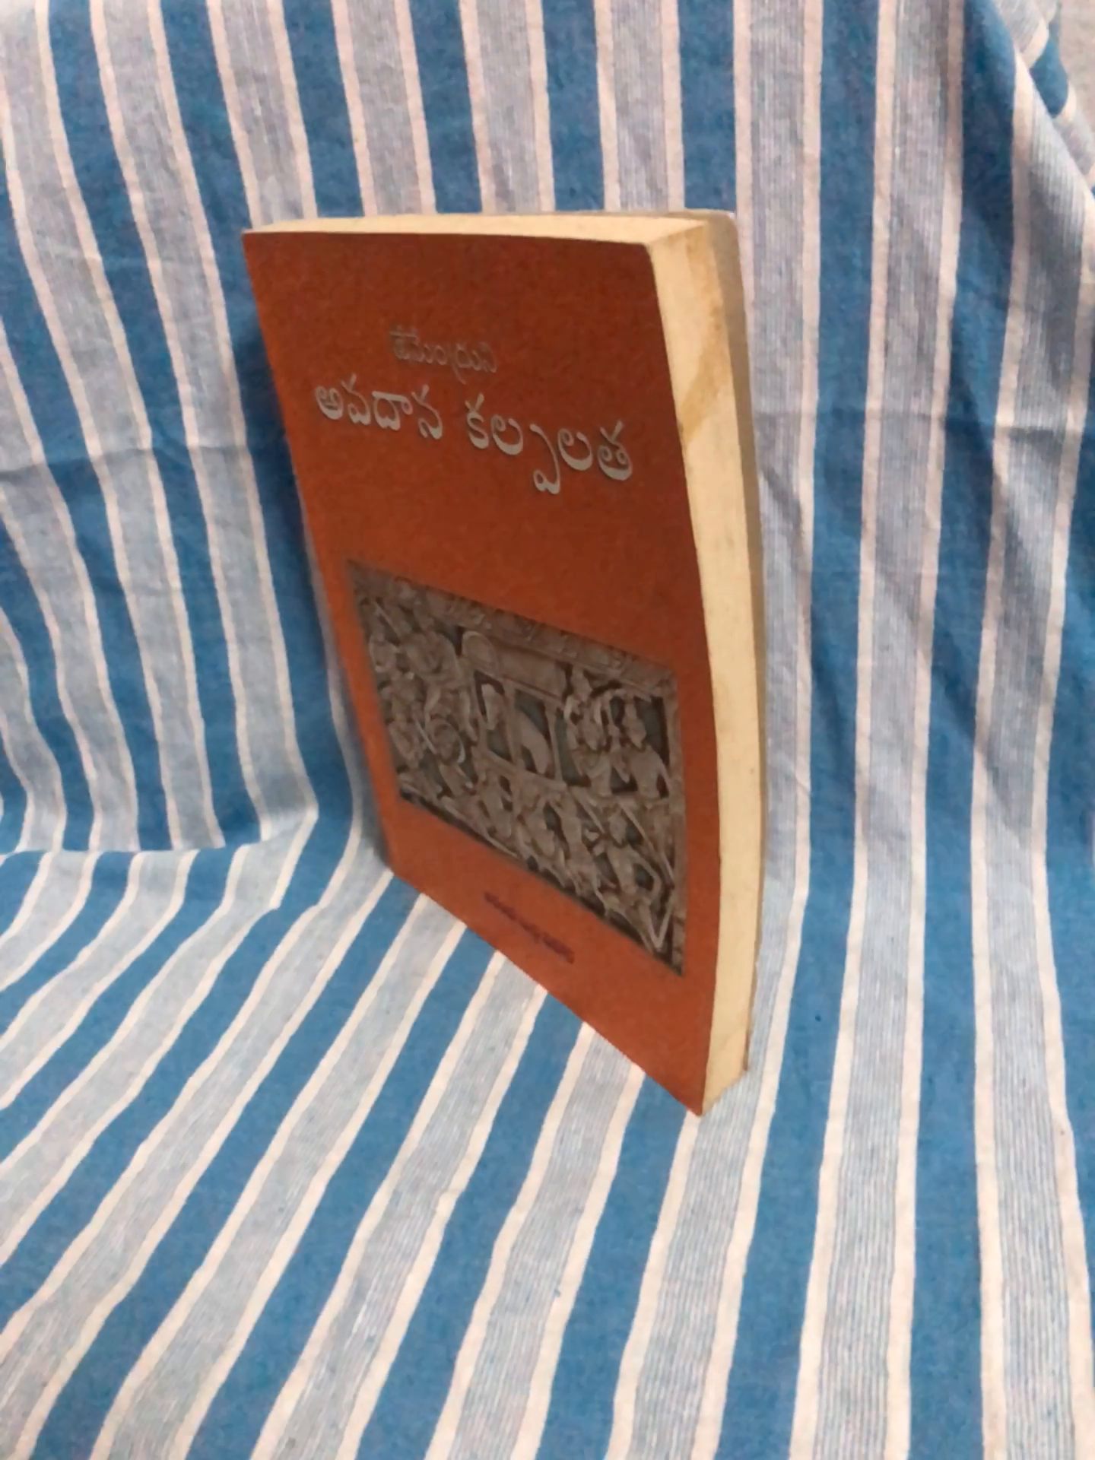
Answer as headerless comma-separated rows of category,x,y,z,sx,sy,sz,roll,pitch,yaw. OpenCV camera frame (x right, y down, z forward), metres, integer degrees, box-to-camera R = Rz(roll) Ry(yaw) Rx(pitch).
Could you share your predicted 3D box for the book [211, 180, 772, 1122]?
book,-0.017,-0.029,0.344,0.030,0.229,0.180,-25,33,-30
